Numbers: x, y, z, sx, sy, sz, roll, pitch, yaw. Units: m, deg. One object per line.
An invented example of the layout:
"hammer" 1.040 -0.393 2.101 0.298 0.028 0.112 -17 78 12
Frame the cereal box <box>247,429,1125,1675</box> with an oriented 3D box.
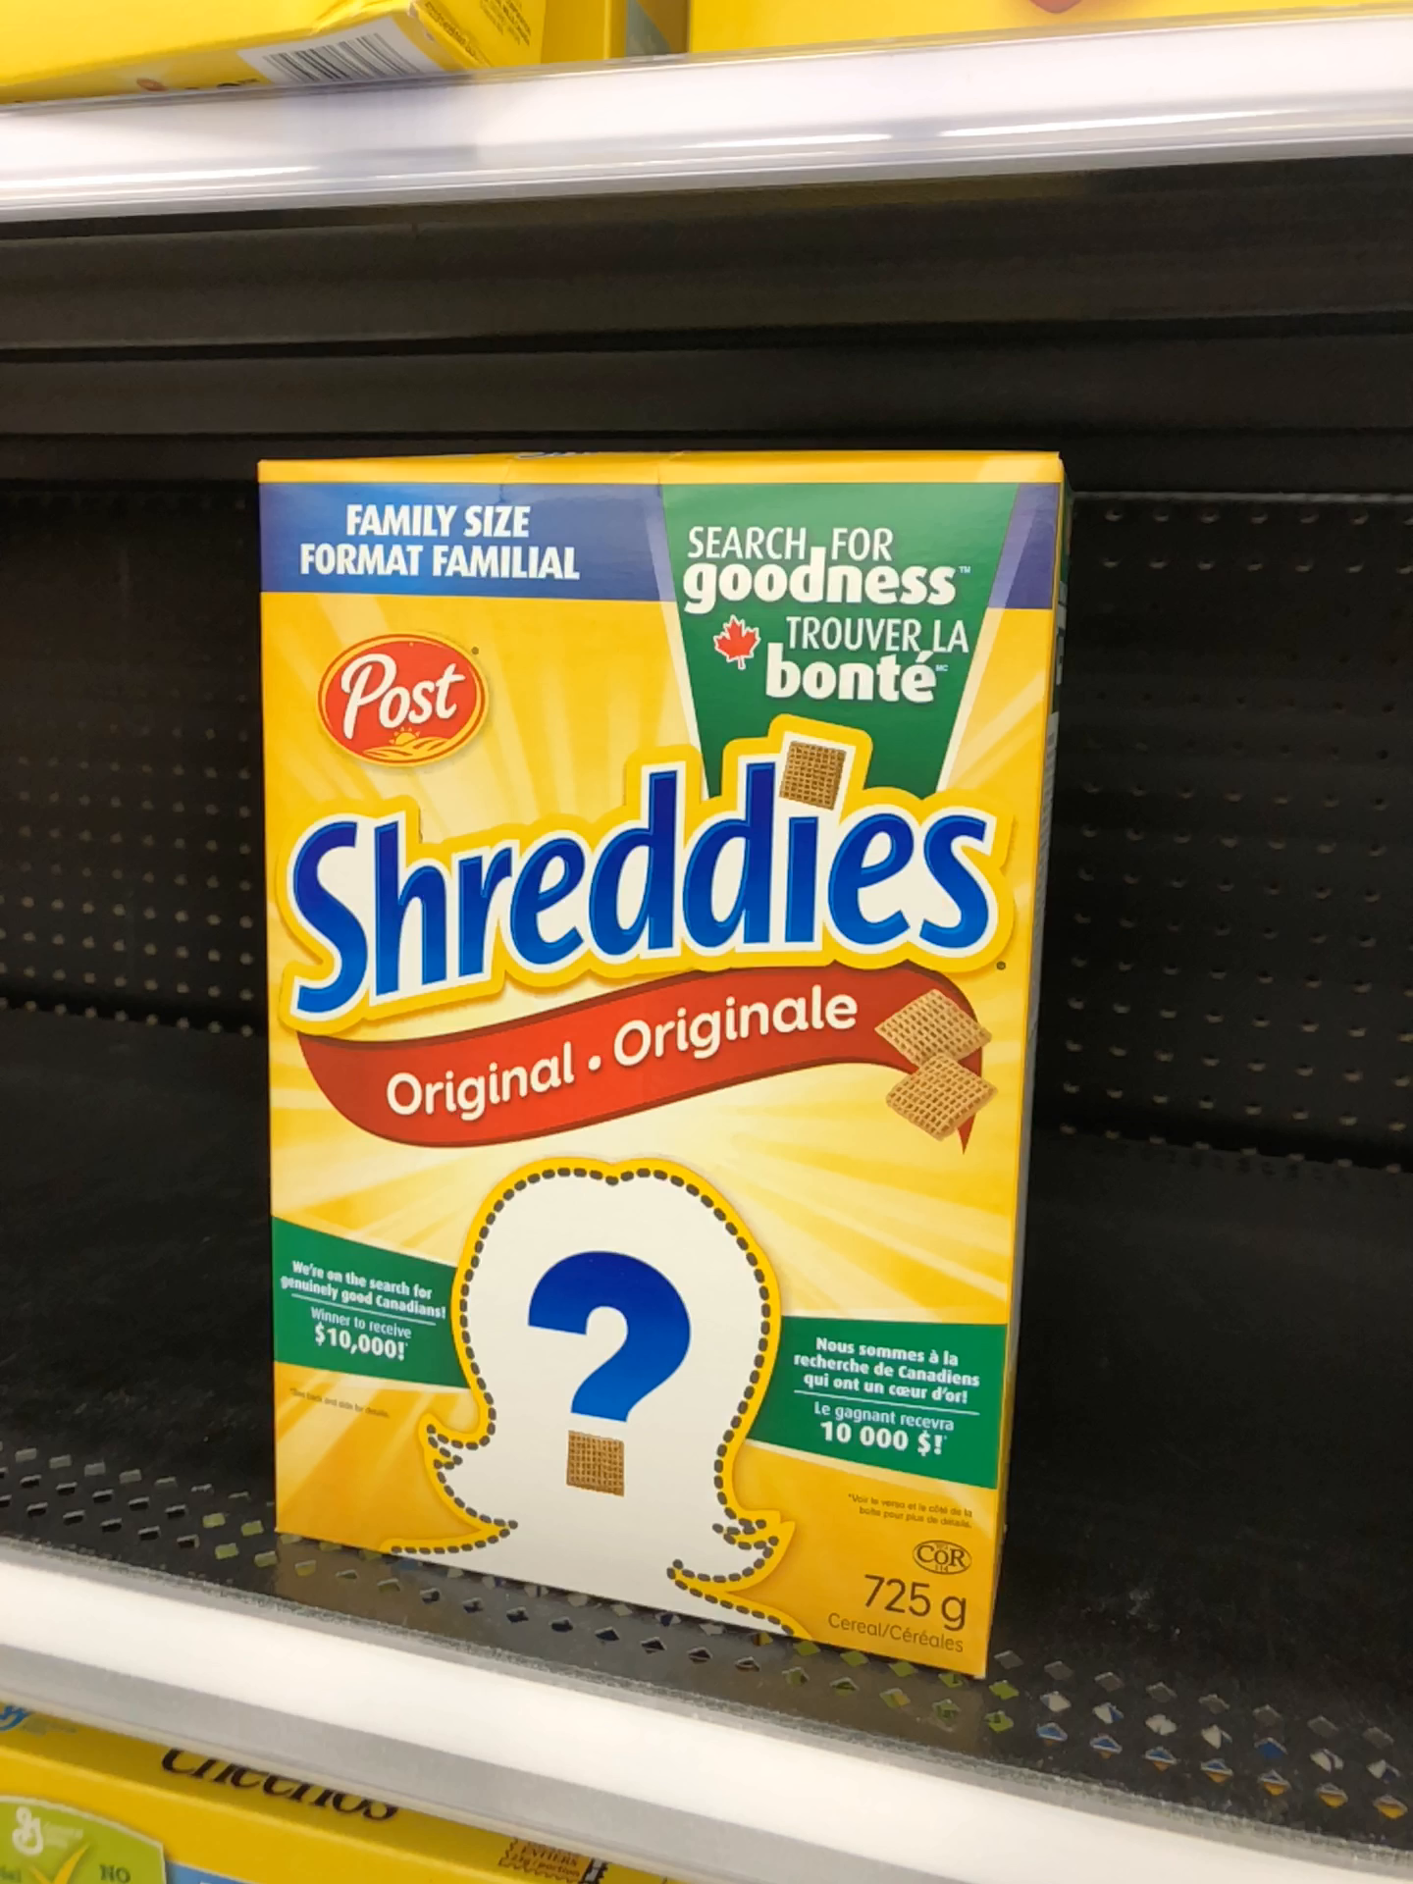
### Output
"cereal box" -0.009 0.020 0.416 0.210 0.289 0.070 5 9 16
